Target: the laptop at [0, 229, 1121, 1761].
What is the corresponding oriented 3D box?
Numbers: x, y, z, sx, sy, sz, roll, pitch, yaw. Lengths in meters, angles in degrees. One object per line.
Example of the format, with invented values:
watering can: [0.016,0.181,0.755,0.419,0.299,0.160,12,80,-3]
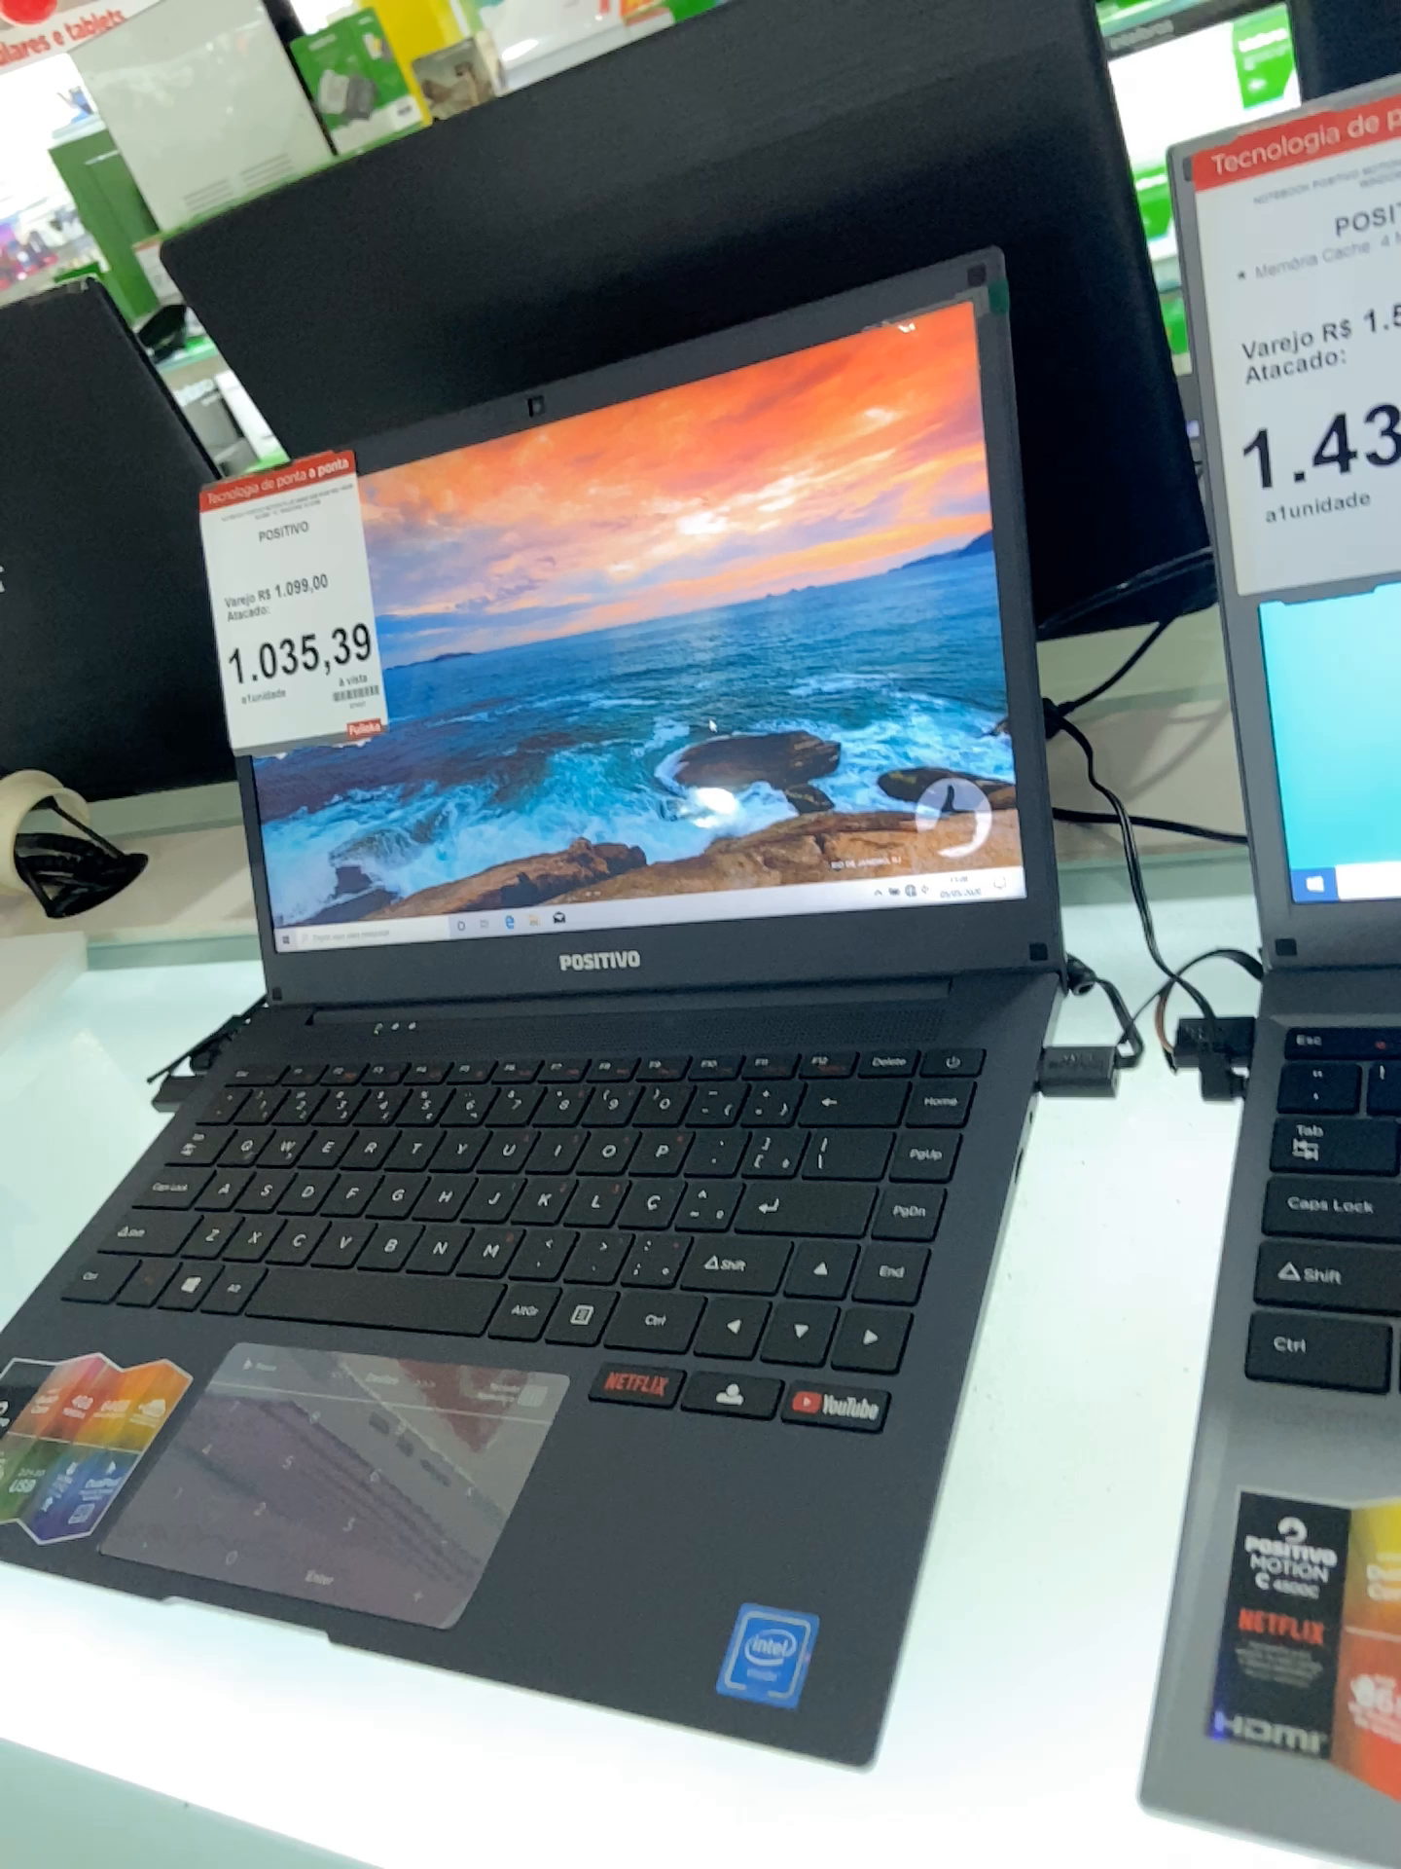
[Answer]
laptop: [-0.086,-0.014,0.434,0.334,0.175,0.355,-4,38,30]
